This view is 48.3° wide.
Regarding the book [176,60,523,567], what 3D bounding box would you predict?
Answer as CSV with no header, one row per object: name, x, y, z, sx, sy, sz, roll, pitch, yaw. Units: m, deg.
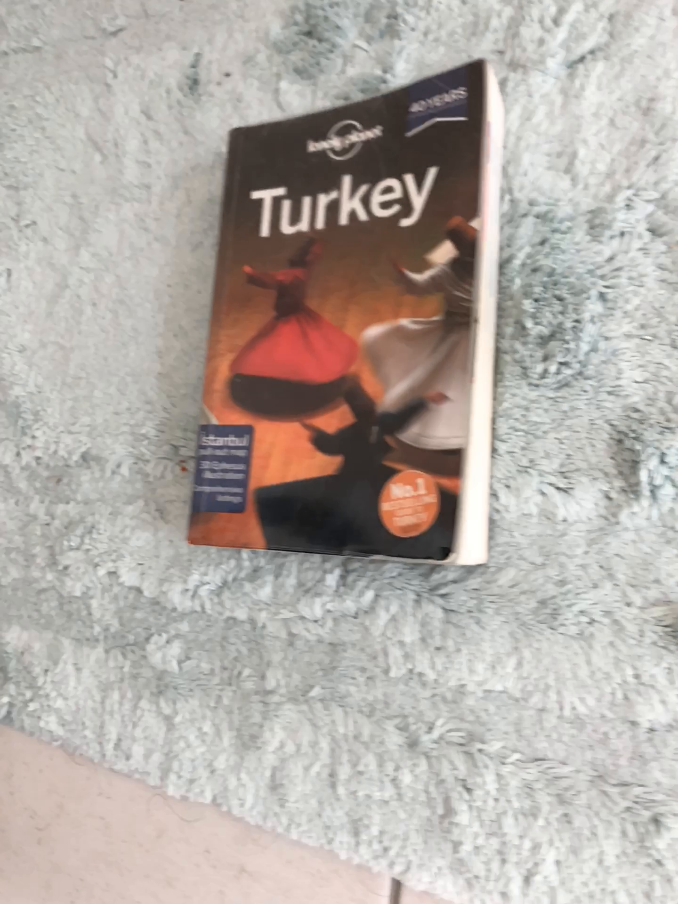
book,0.005,-0.052,0.327,0.131,0.046,0.190,0,82,30
